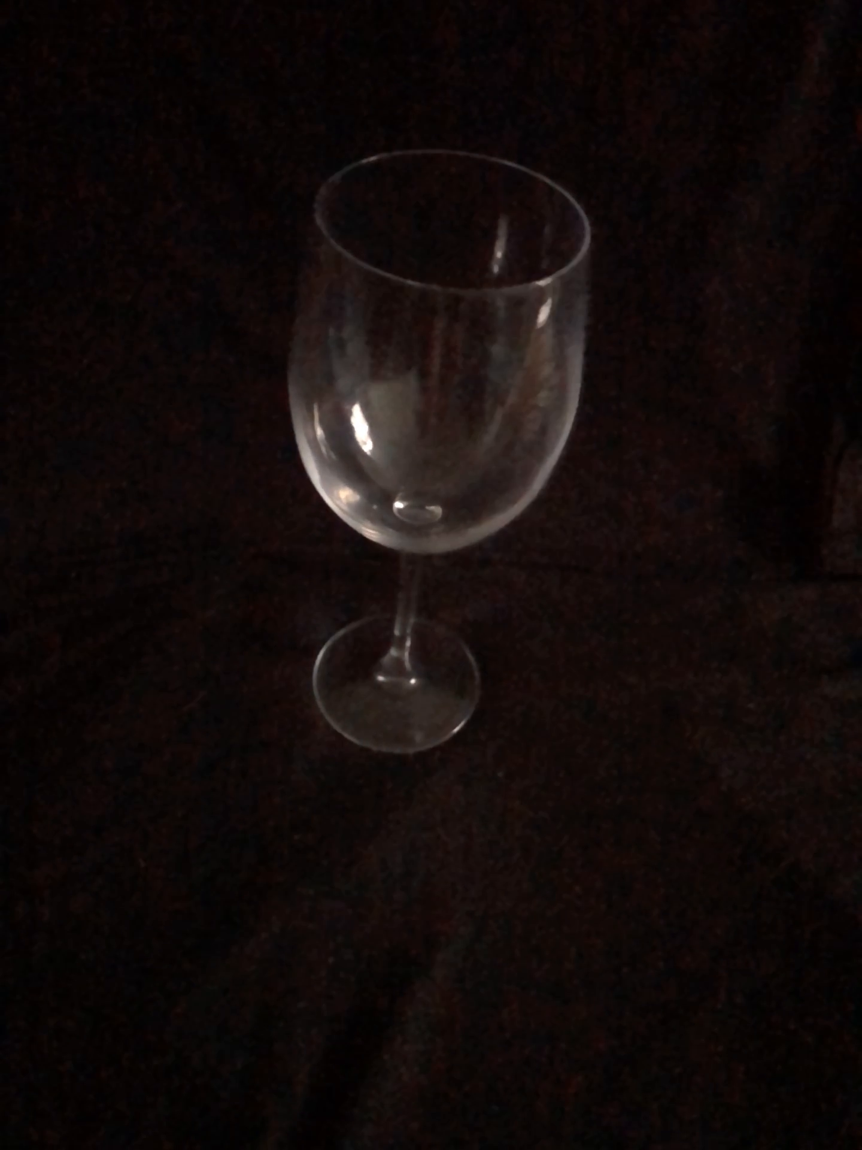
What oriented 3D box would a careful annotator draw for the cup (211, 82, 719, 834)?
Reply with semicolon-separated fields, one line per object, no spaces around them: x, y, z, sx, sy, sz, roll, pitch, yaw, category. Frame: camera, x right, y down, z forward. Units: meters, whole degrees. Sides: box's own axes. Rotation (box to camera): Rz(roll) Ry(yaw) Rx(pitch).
0.002;-0.023;0.373;0.100;0.266;0.103;2;51;-3;cup
